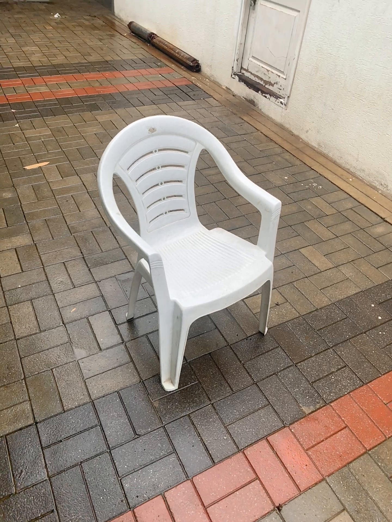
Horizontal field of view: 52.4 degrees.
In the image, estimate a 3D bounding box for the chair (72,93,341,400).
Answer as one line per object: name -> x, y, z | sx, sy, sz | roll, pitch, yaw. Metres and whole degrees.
chair -> -0.007, -0.070, 1.425 | 0.561, 0.777, 0.571 | -24, 49, -31
